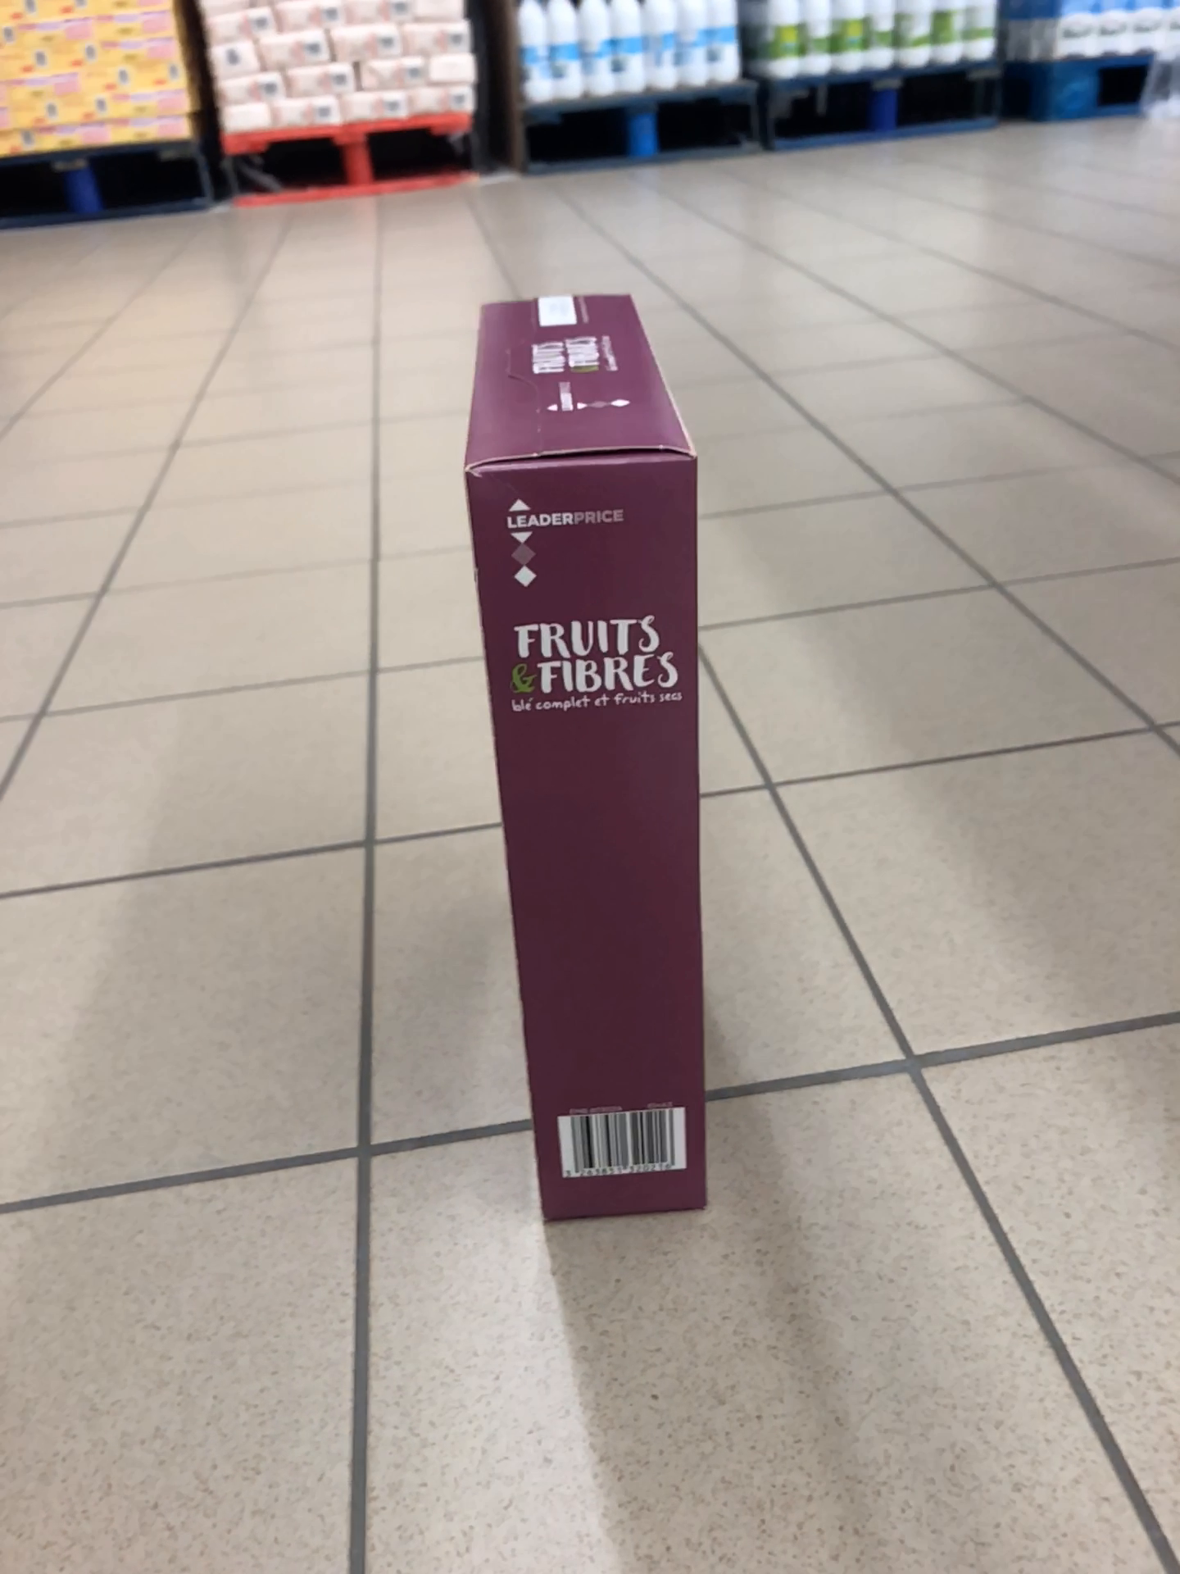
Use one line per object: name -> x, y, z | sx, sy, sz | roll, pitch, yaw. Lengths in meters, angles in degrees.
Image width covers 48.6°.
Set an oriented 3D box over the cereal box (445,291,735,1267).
cereal box -> 0.001, -0.014, 0.447 | 0.060, 0.259, 0.211 | -5, 29, -1
